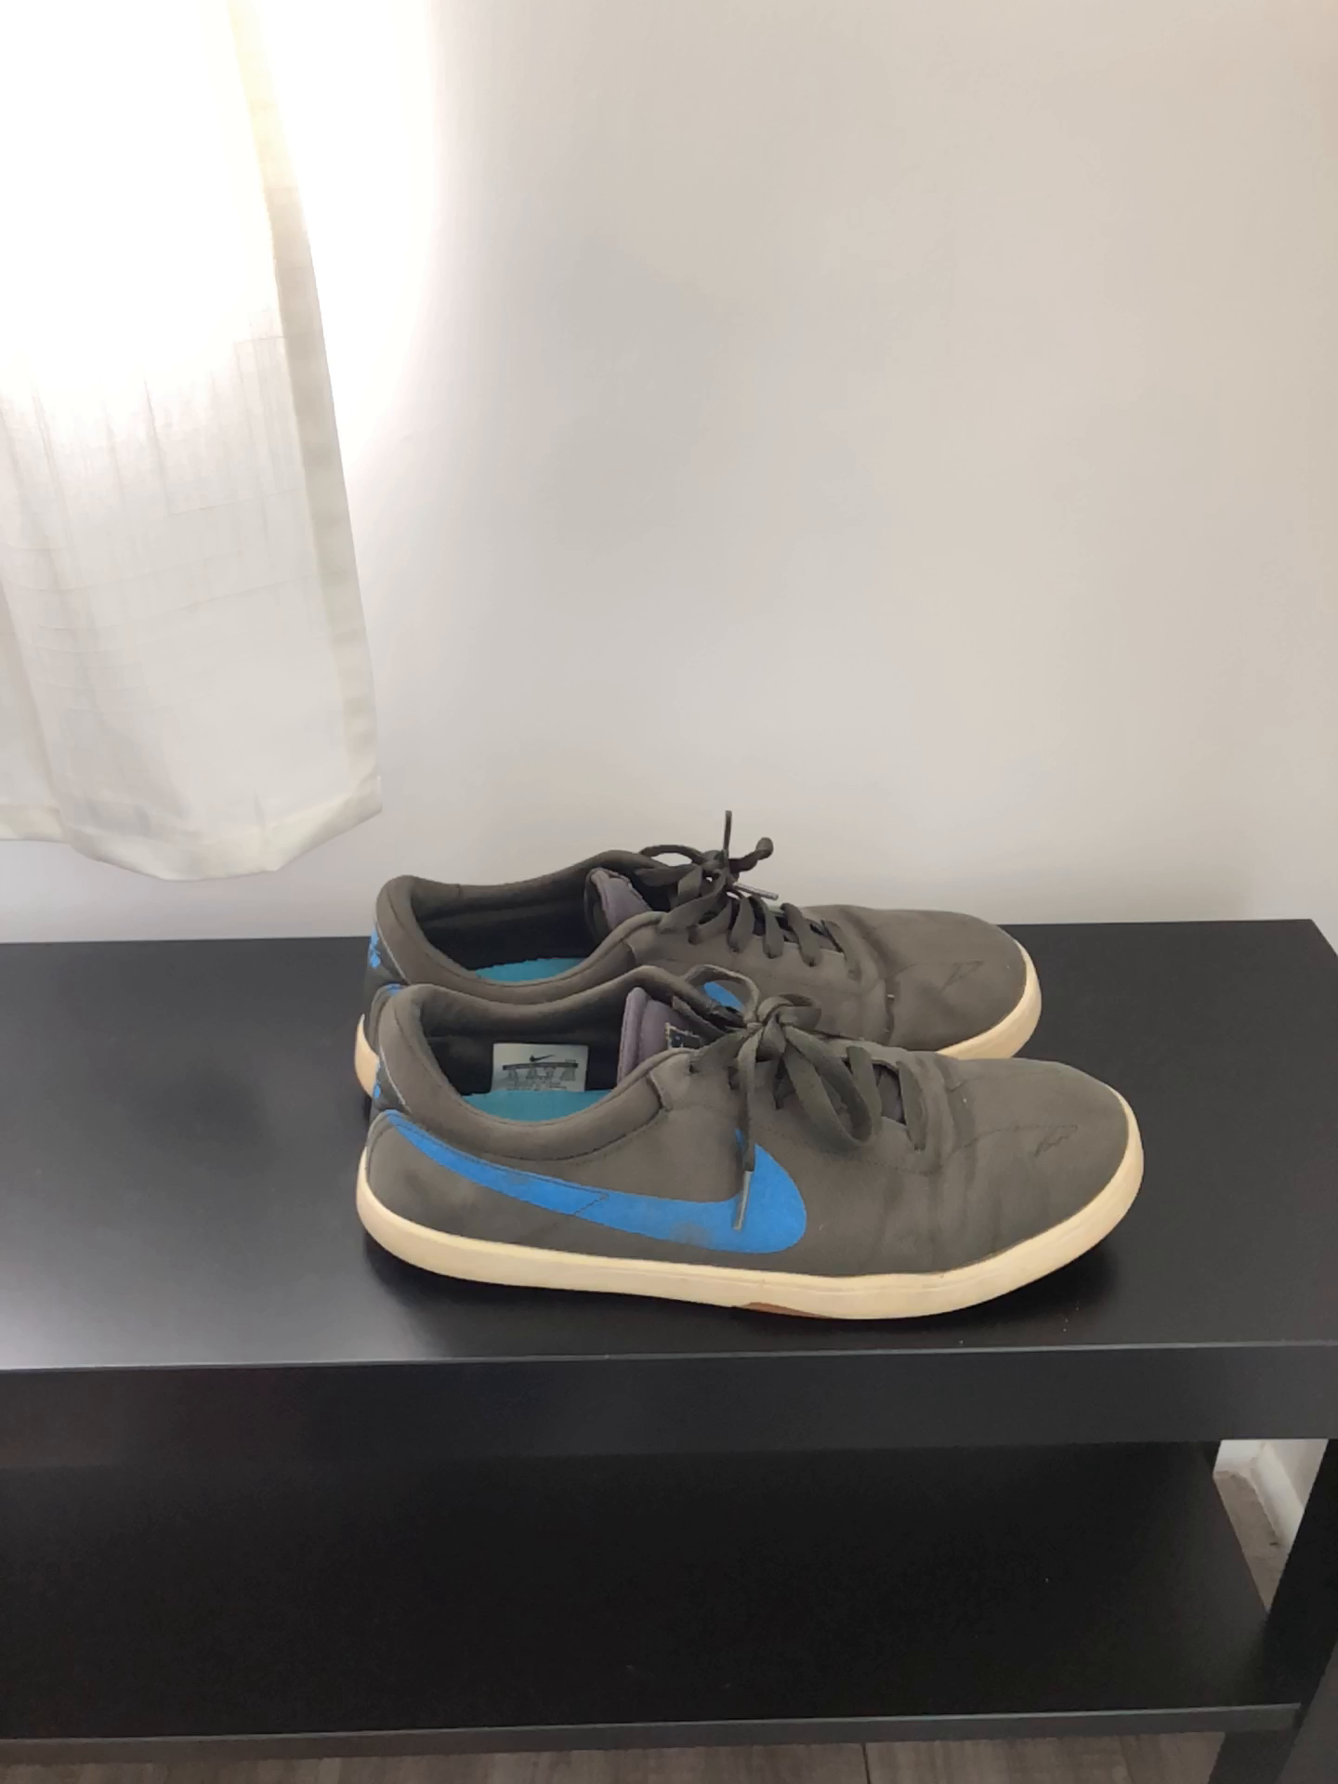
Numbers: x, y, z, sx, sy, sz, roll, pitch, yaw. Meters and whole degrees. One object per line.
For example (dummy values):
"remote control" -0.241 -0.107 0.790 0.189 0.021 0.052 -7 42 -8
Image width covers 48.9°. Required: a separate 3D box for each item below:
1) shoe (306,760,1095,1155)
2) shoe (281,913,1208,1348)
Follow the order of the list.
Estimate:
"shoe" 0.010 0.023 0.591 0.280 0.110 0.100 -2 32 -3
"shoe" 0.023 0.081 0.516 0.280 0.110 0.100 0 31 1
